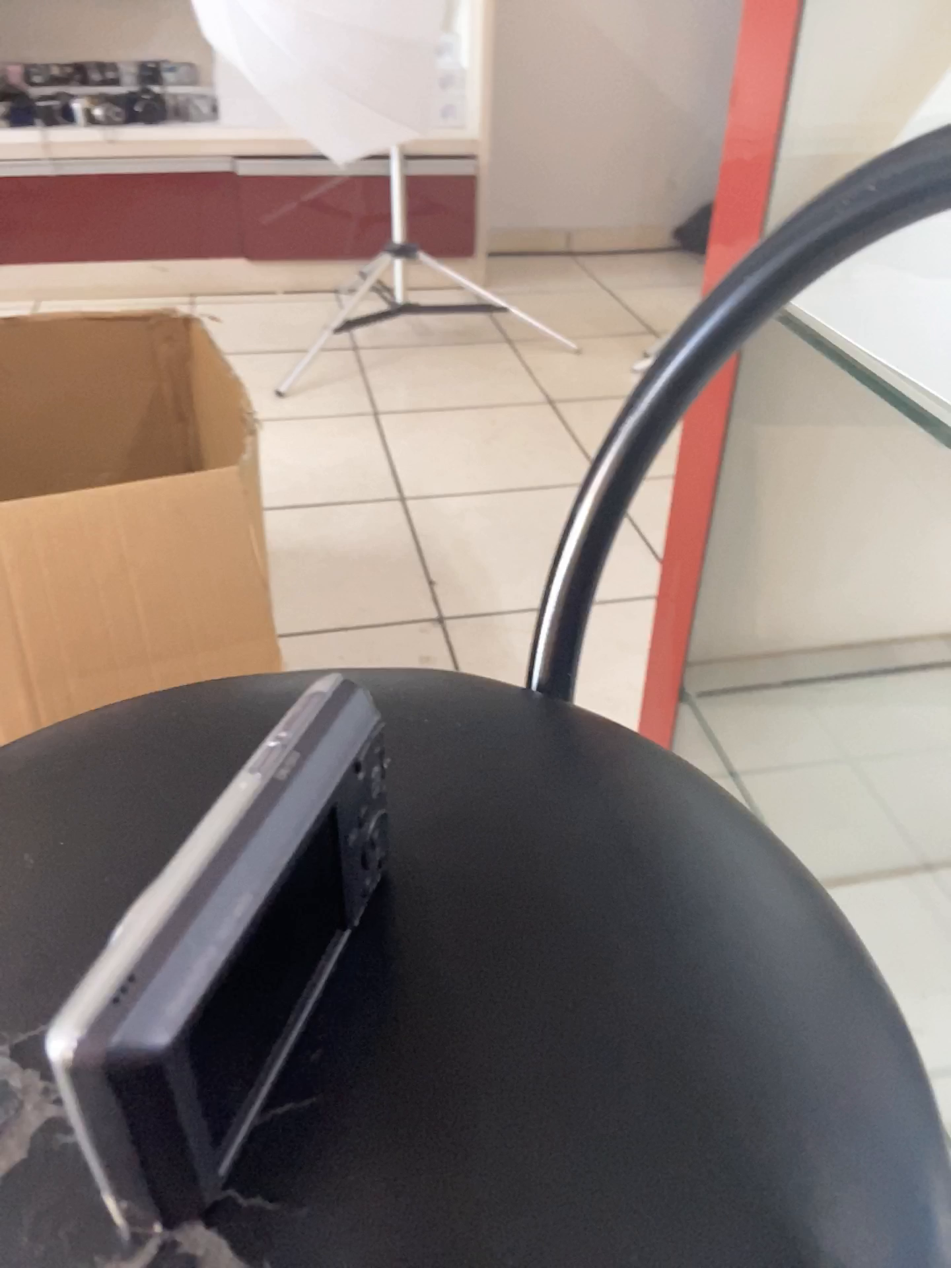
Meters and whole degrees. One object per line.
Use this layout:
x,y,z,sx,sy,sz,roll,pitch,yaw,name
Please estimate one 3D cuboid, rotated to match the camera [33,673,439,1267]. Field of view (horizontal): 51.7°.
-0.039,0.064,0.203,0.030,0.060,0.101,12,36,14,camera
